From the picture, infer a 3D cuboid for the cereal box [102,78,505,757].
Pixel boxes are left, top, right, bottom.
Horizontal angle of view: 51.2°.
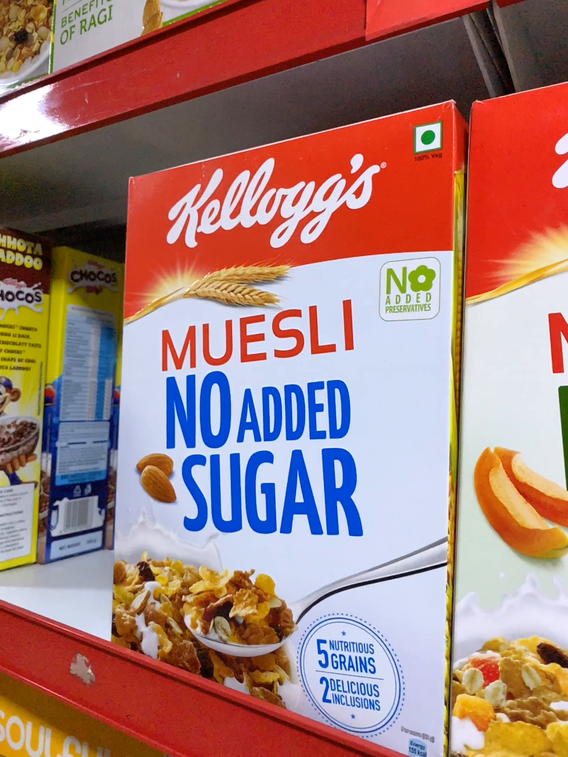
[{"bbox_3d":[0.001,0.012,0.277,0.180,0.240,0.050,1,-3,33],"label":"cereal box"}]
